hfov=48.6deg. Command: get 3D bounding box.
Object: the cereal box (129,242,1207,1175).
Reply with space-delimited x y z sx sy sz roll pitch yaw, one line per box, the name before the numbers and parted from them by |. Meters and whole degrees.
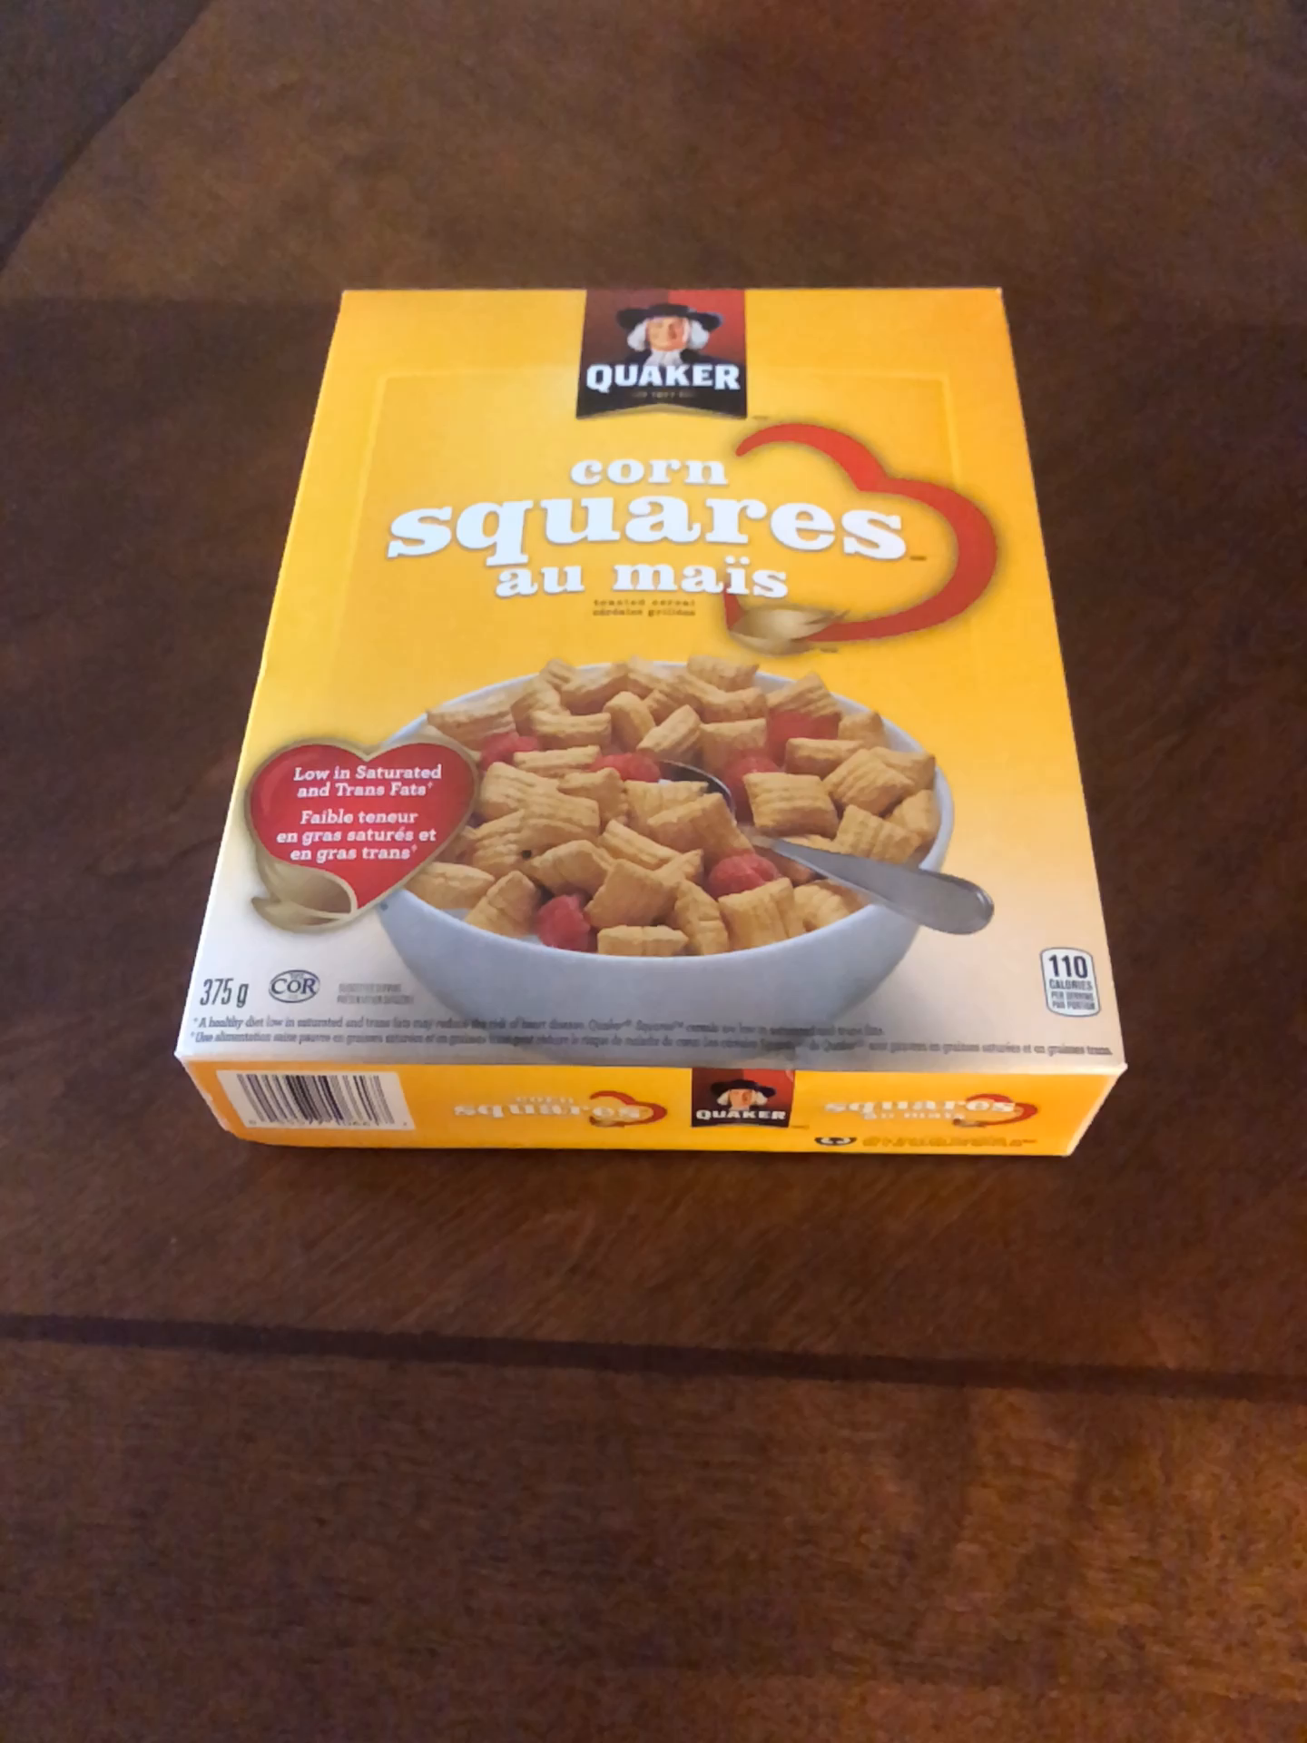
cereal box | 0.005 -0.060 0.388 0.220 0.050 0.271 1 58 0
